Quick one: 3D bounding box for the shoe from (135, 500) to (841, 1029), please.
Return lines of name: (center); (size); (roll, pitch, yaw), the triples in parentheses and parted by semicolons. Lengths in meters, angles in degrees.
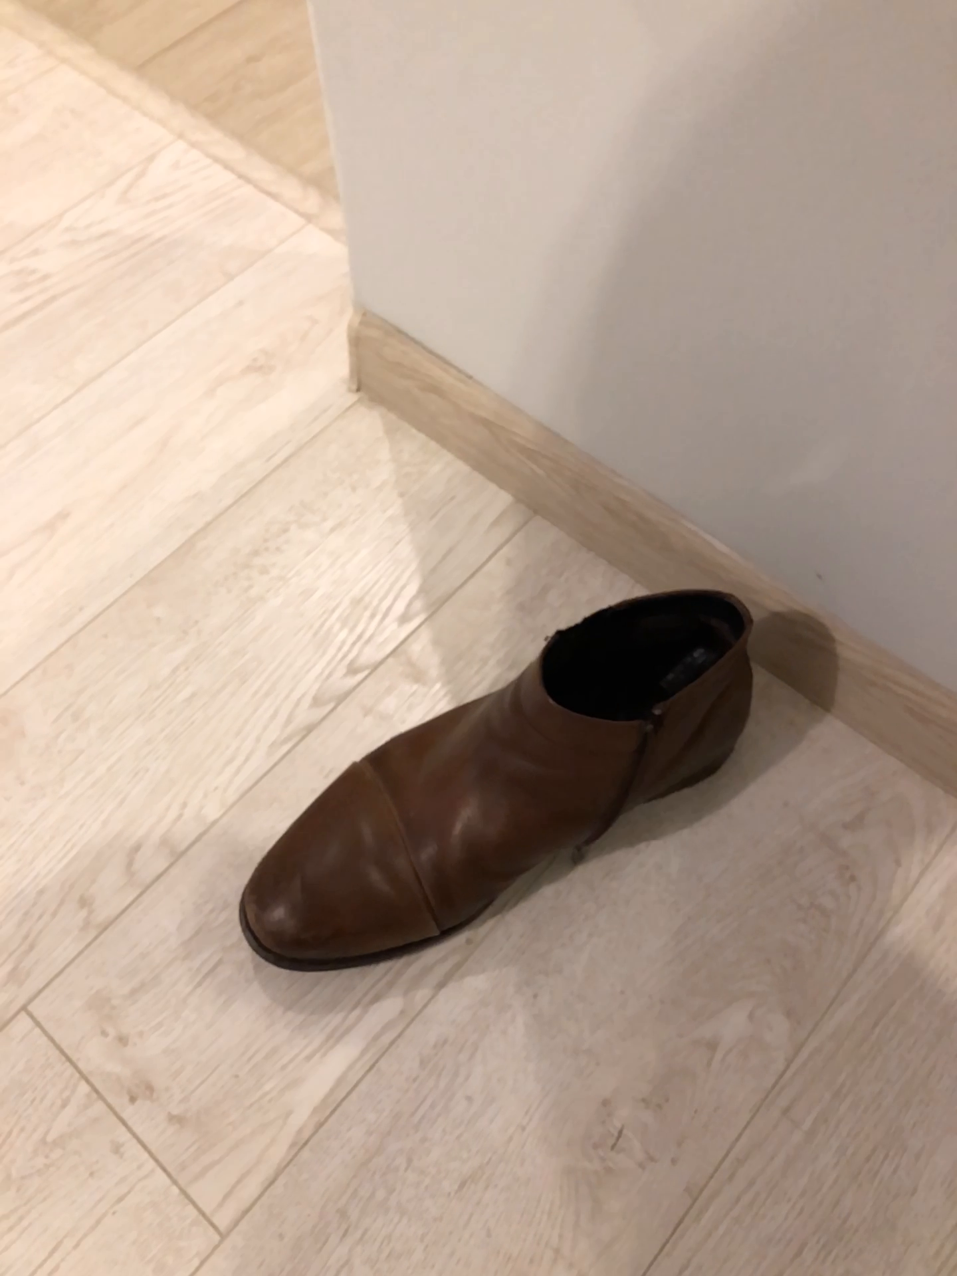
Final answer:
shoe: (0.007, 0.063, 0.544); (0.310, 0.109, 0.120); (-24, 63, -12)
